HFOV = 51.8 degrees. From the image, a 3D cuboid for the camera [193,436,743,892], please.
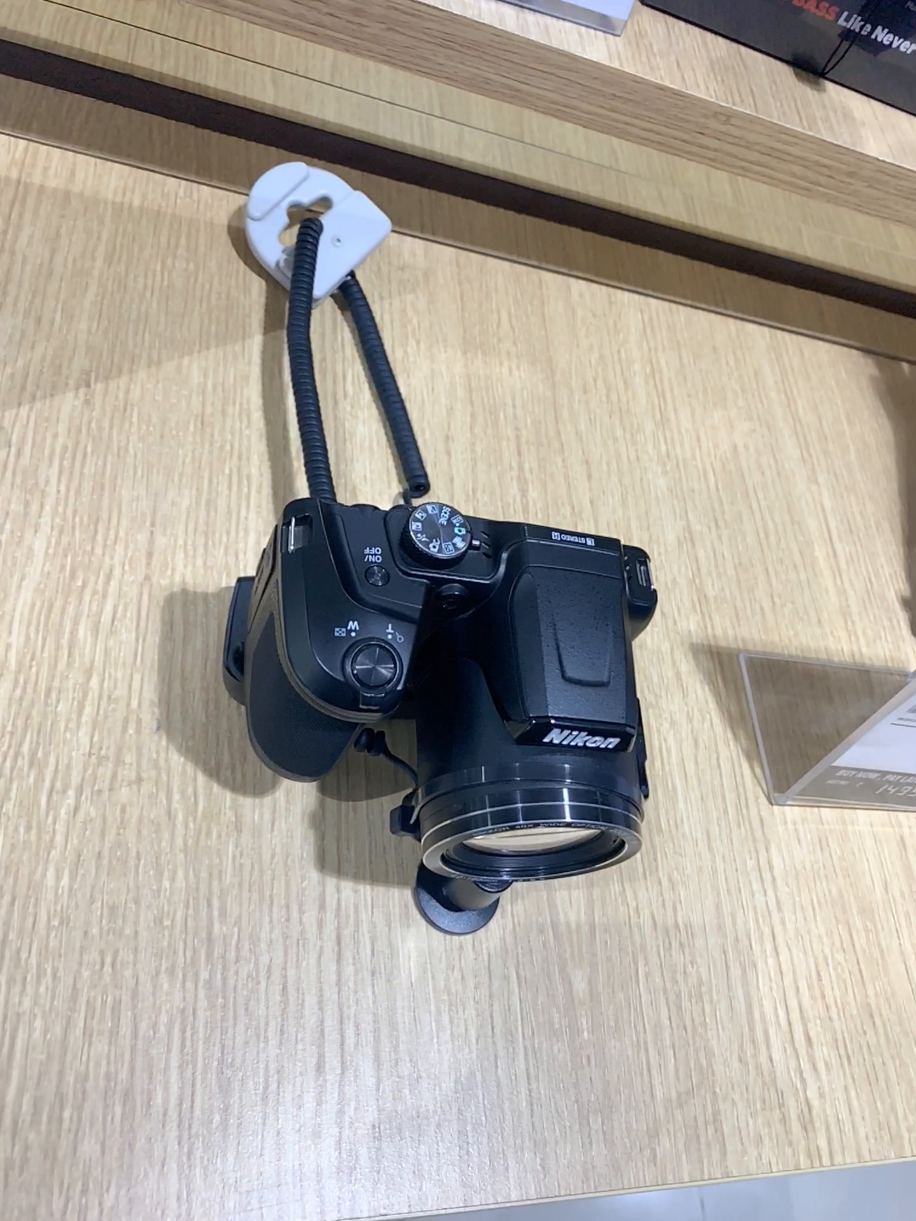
[{"bbox_3d":[-0.004,0.022,0.262,0.120,0.080,0.090,7,60,-19],"label":"camera"}]
